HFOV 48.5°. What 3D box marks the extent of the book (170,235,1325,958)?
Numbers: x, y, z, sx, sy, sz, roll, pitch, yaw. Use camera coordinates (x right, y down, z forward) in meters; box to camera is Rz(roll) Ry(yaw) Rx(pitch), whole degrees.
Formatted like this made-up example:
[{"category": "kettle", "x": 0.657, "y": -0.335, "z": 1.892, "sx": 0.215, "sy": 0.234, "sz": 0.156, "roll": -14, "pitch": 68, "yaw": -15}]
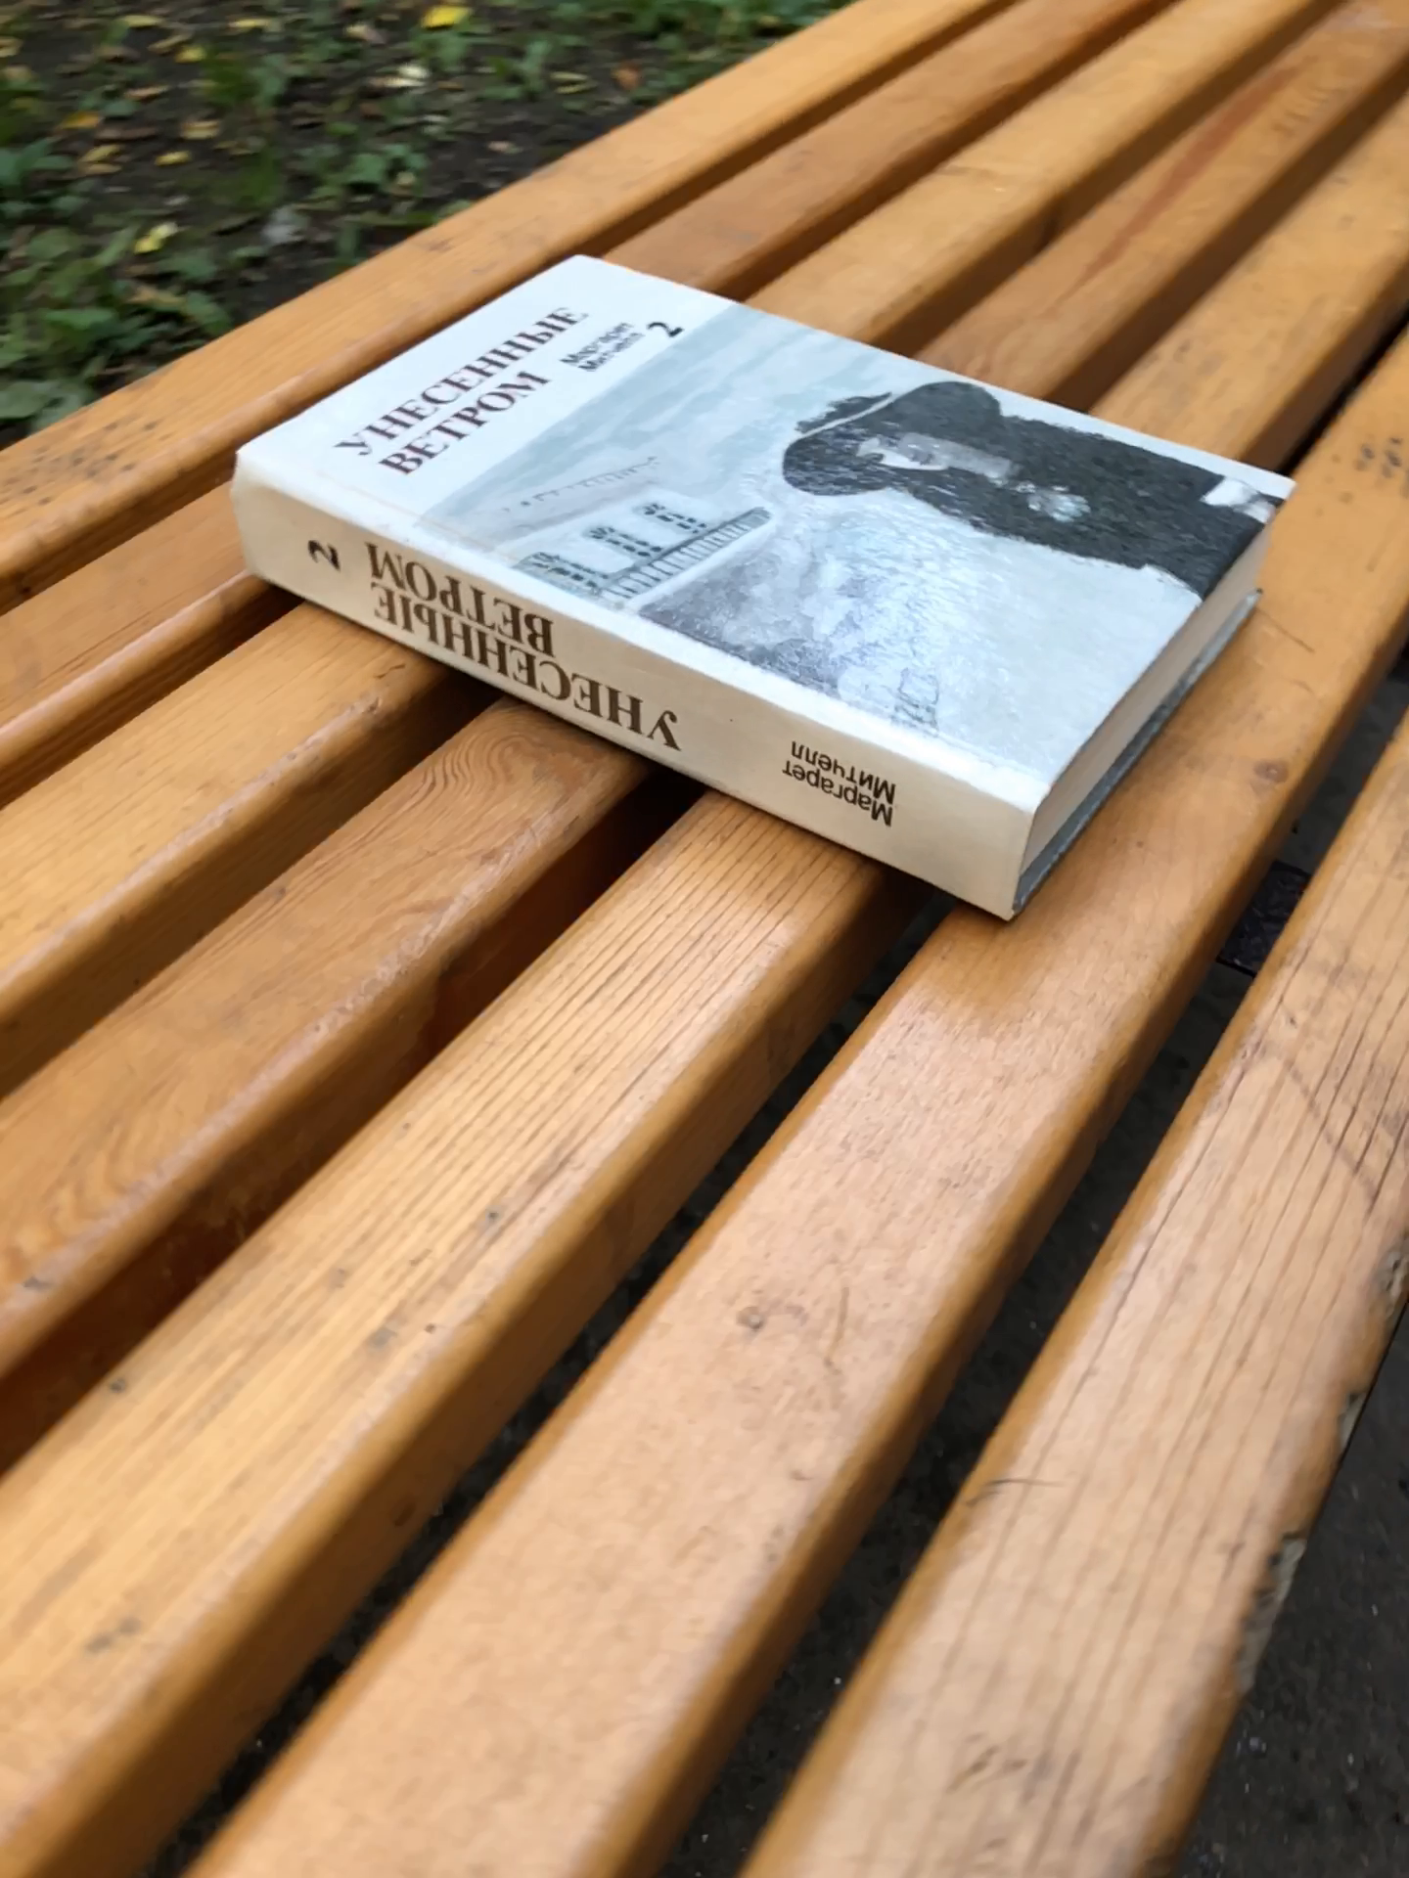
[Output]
[{"category": "book", "x": 0.009, "y": -0.093, "z": 0.353, "sx": 0.210, "sy": 0.030, "sz": 0.140, "roll": 27, "pitch": 52, "yaw": 22}]
